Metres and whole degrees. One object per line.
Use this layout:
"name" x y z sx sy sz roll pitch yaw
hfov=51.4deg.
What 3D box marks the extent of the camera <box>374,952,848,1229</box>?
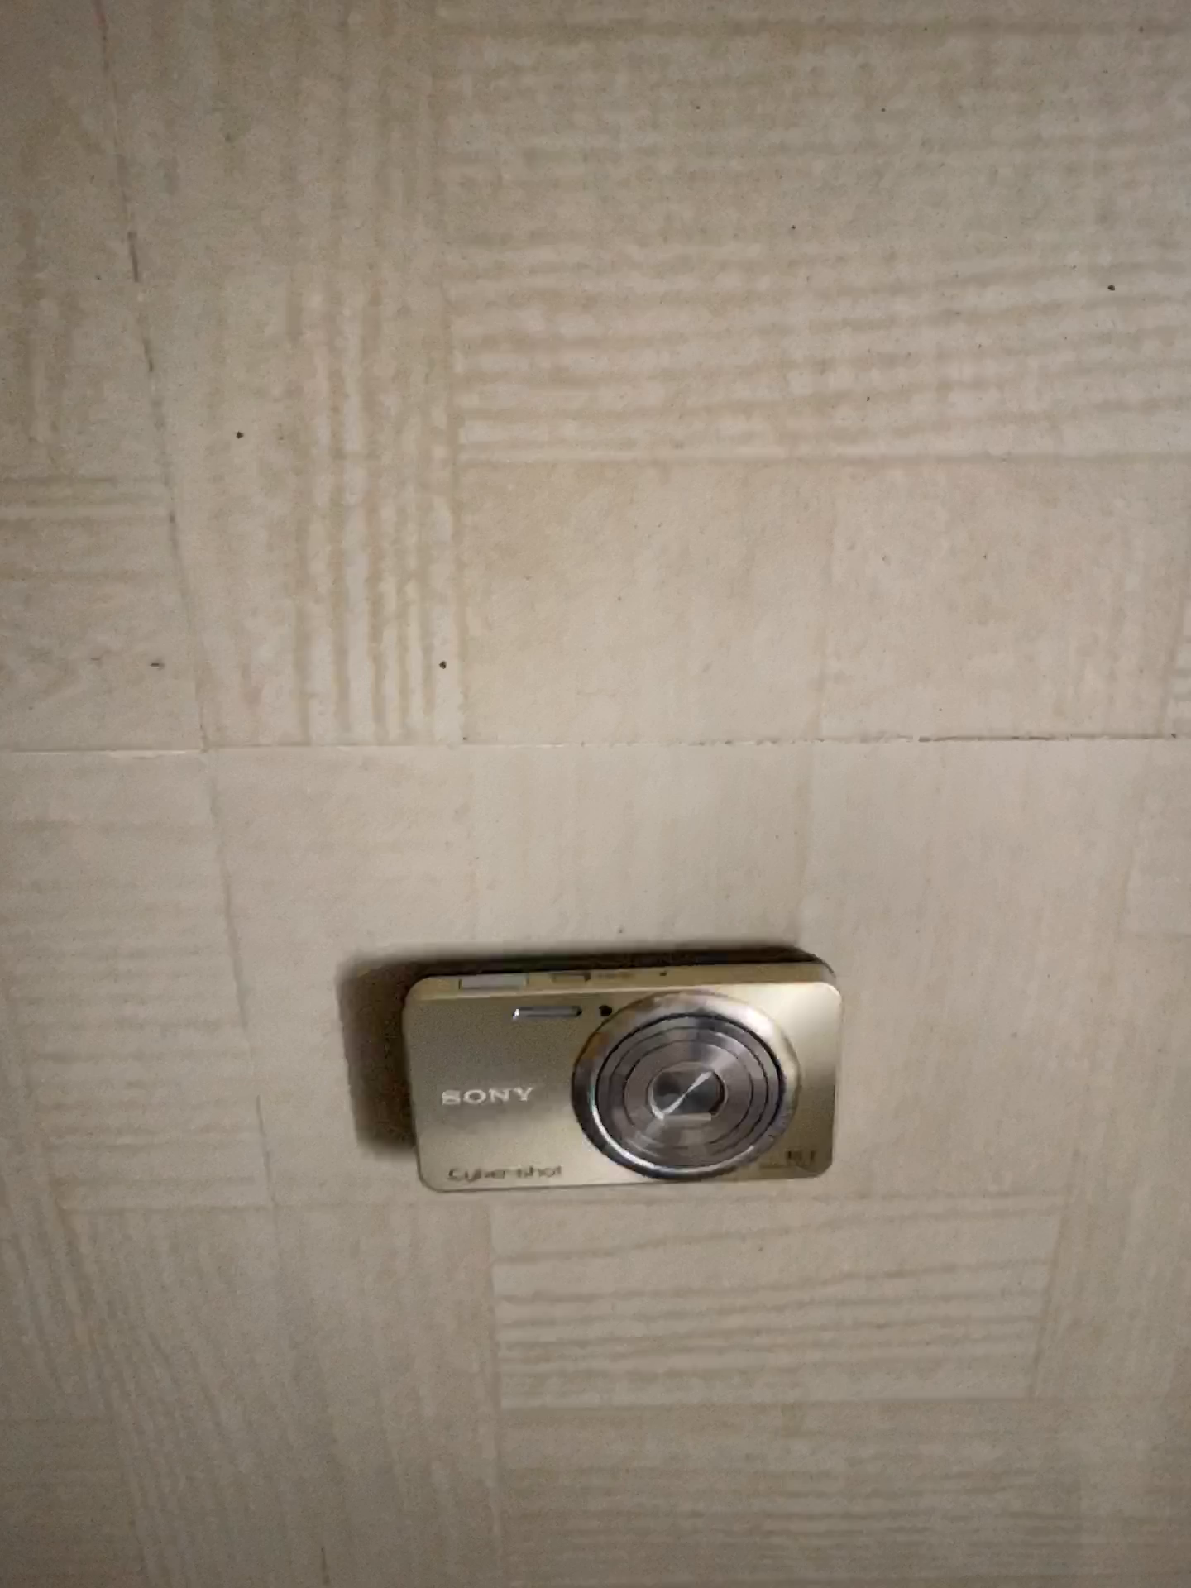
"camera" 0.003 0.066 0.273 0.097 0.019 0.057 -1 113 -1
